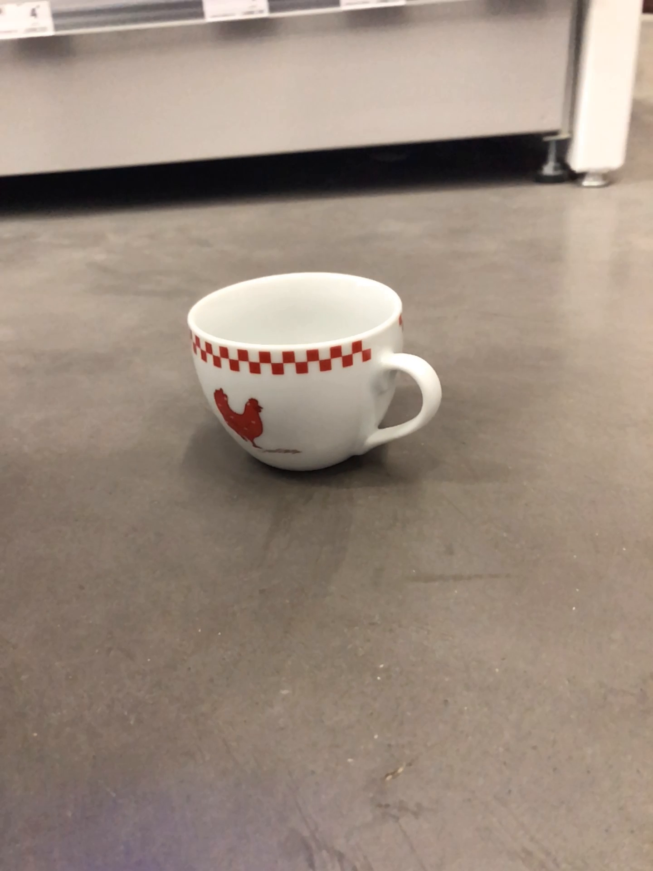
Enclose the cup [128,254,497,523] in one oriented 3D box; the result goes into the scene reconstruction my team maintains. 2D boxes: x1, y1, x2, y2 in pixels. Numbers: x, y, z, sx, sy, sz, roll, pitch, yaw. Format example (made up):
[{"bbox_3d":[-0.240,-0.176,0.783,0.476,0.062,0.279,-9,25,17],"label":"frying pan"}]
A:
[{"bbox_3d":[-0.004,-0.028,0.292,0.111,0.058,0.089,18,34,34],"label":"cup"}]
